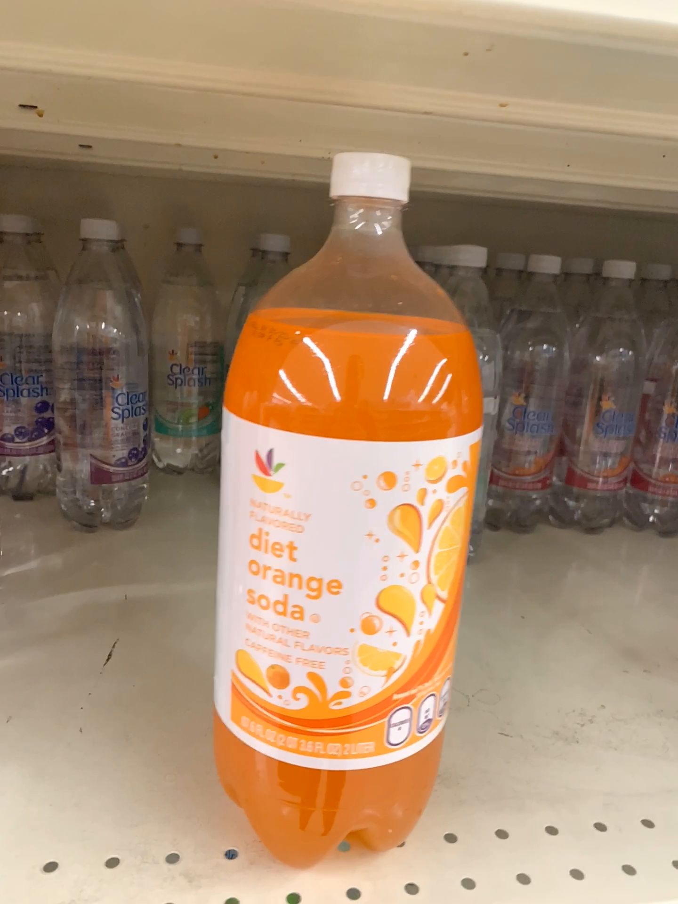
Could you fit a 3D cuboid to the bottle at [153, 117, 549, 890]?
[{"bbox_3d":[-0.006,0.025,0.304,0.120,0.289,0.110,4,16,-1],"label":"bottle"}]
